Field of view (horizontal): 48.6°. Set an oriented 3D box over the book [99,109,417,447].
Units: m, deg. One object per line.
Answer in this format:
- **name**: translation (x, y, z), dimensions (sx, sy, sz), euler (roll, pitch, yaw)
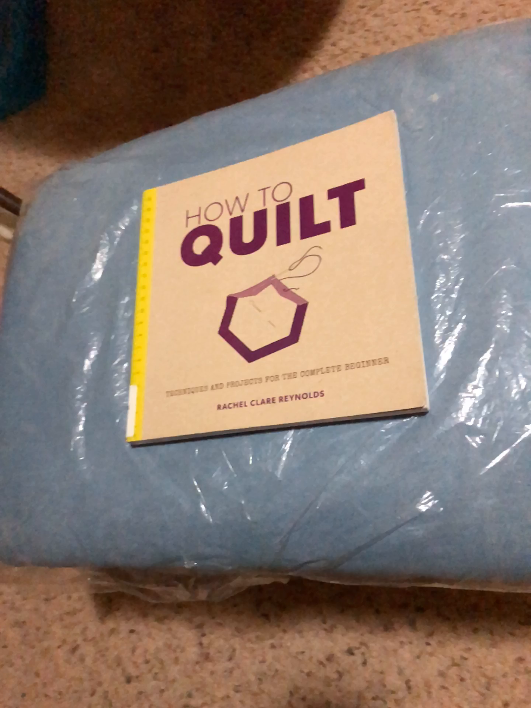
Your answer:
- **book**: translation (-0.015, -0.045, 0.392), dimensions (0.208, 0.020, 0.194), euler (-10, 69, 24)
